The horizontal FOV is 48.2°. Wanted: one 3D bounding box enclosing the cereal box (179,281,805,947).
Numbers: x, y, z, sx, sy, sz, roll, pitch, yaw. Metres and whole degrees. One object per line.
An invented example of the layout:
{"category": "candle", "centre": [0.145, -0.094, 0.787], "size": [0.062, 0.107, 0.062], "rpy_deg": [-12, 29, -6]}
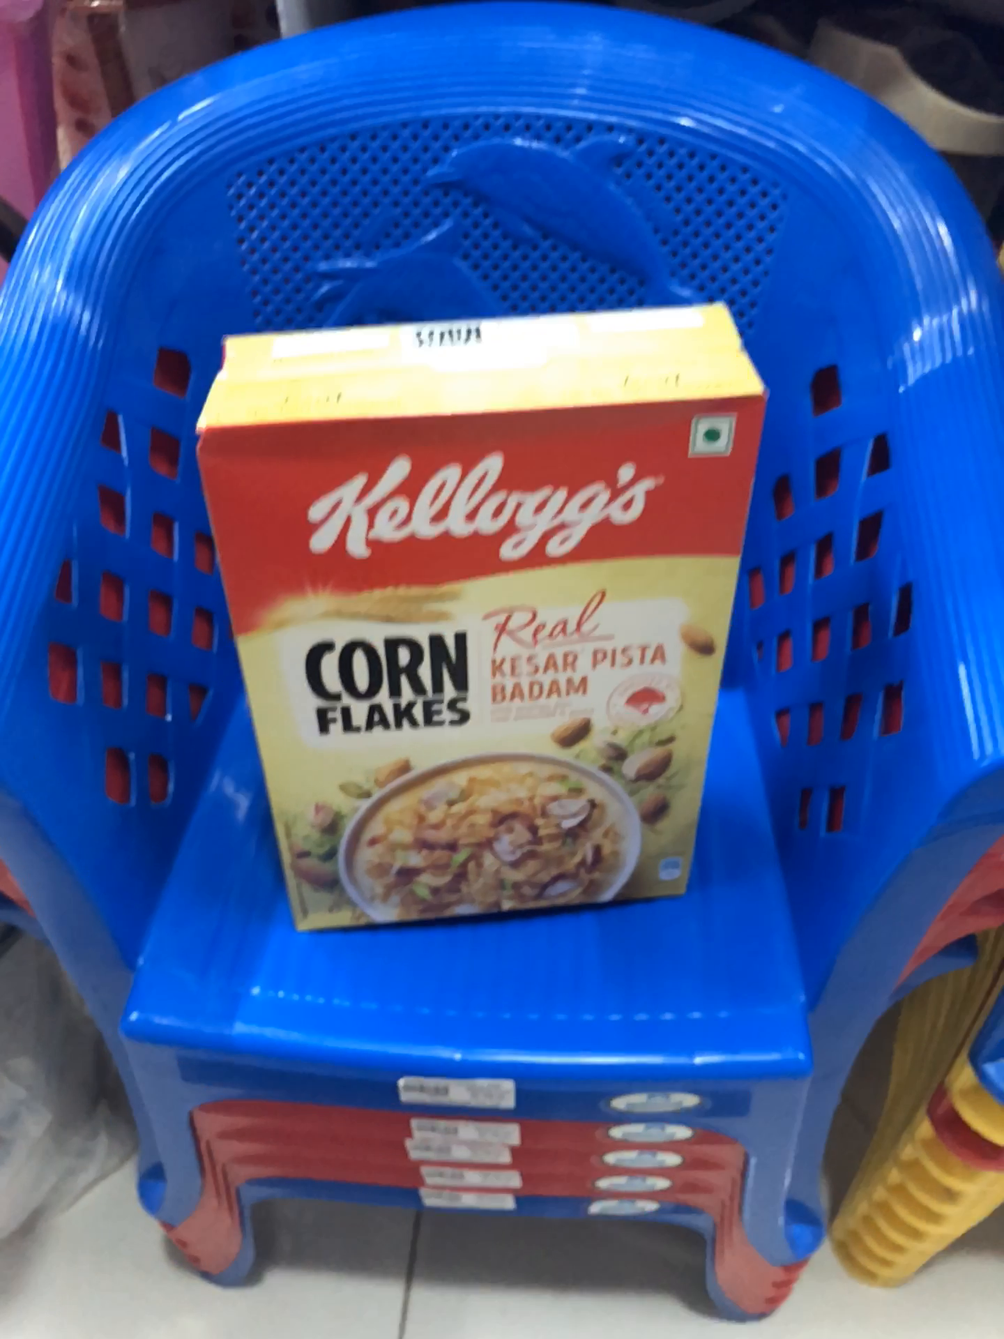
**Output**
{"category": "cereal box", "centre": [-0.002, -0.006, 0.453], "size": [0.190, 0.269, 0.070], "rpy_deg": [-4, 41, -3]}
